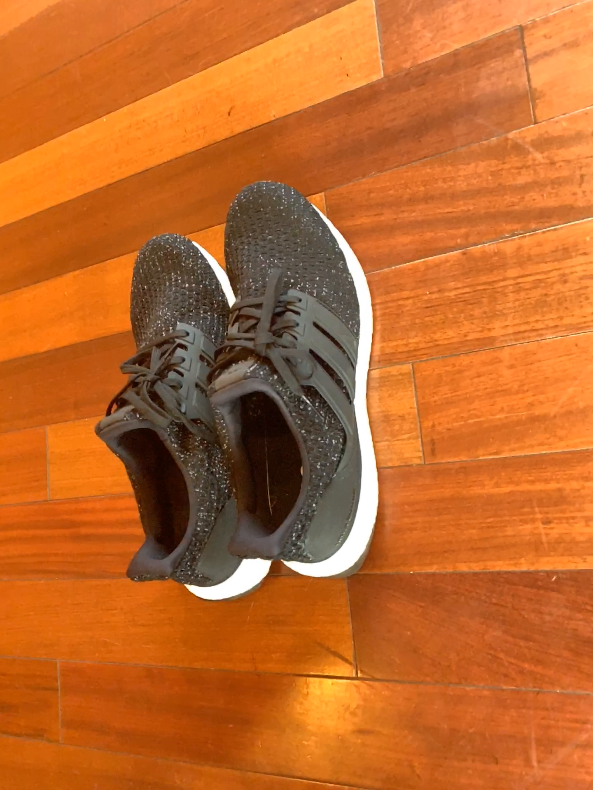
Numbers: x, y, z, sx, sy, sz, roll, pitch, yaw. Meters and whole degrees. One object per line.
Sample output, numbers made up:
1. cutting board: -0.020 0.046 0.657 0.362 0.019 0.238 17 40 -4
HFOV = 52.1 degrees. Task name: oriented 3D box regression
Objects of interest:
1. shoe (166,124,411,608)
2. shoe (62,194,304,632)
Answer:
1. shoe: -0.006 -0.013 0.424 0.111 0.100 0.290 -10 81 25
2. shoe: -0.091 0.016 0.482 0.111 0.100 0.300 -15 79 25
